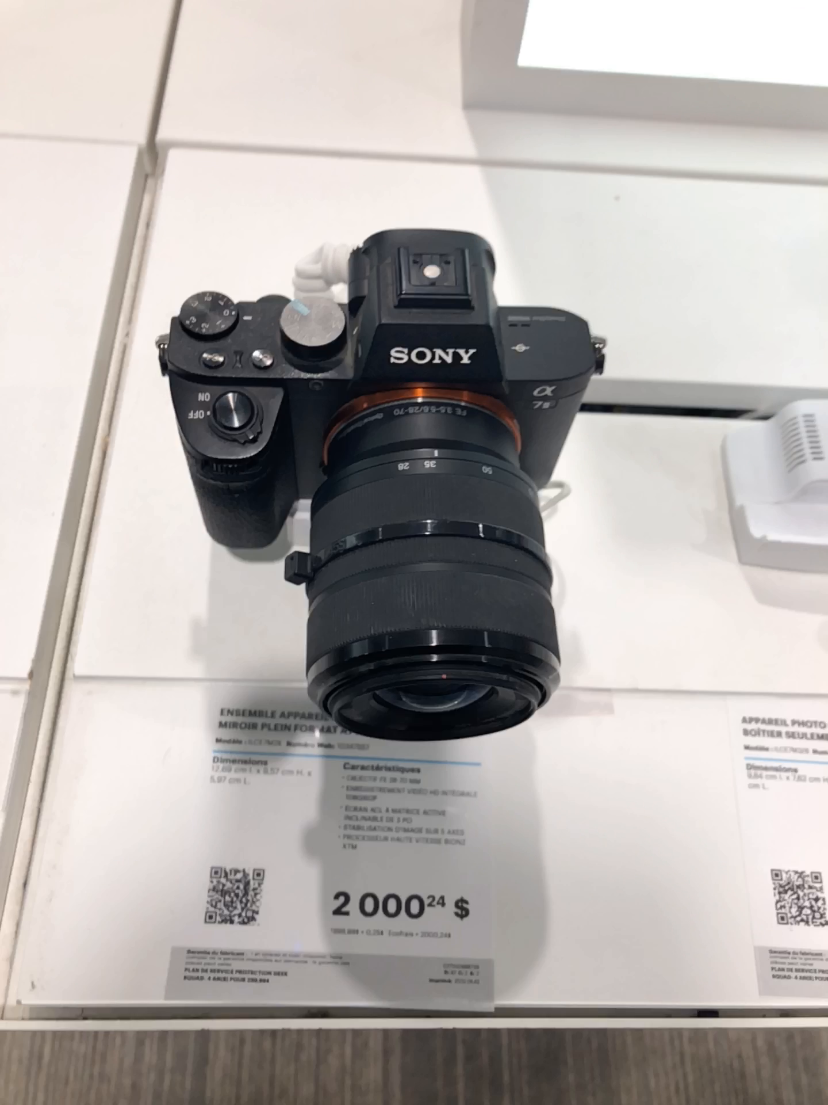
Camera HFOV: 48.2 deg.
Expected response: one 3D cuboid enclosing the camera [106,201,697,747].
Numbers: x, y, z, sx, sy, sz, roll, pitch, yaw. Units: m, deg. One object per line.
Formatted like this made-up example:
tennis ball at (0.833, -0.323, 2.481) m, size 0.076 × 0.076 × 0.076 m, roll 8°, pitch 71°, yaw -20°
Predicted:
camera at (-0.007, -0.020, 0.283) m, size 0.134 × 0.100 × 0.131 m, roll 0°, pitch 62°, yaw -5°
